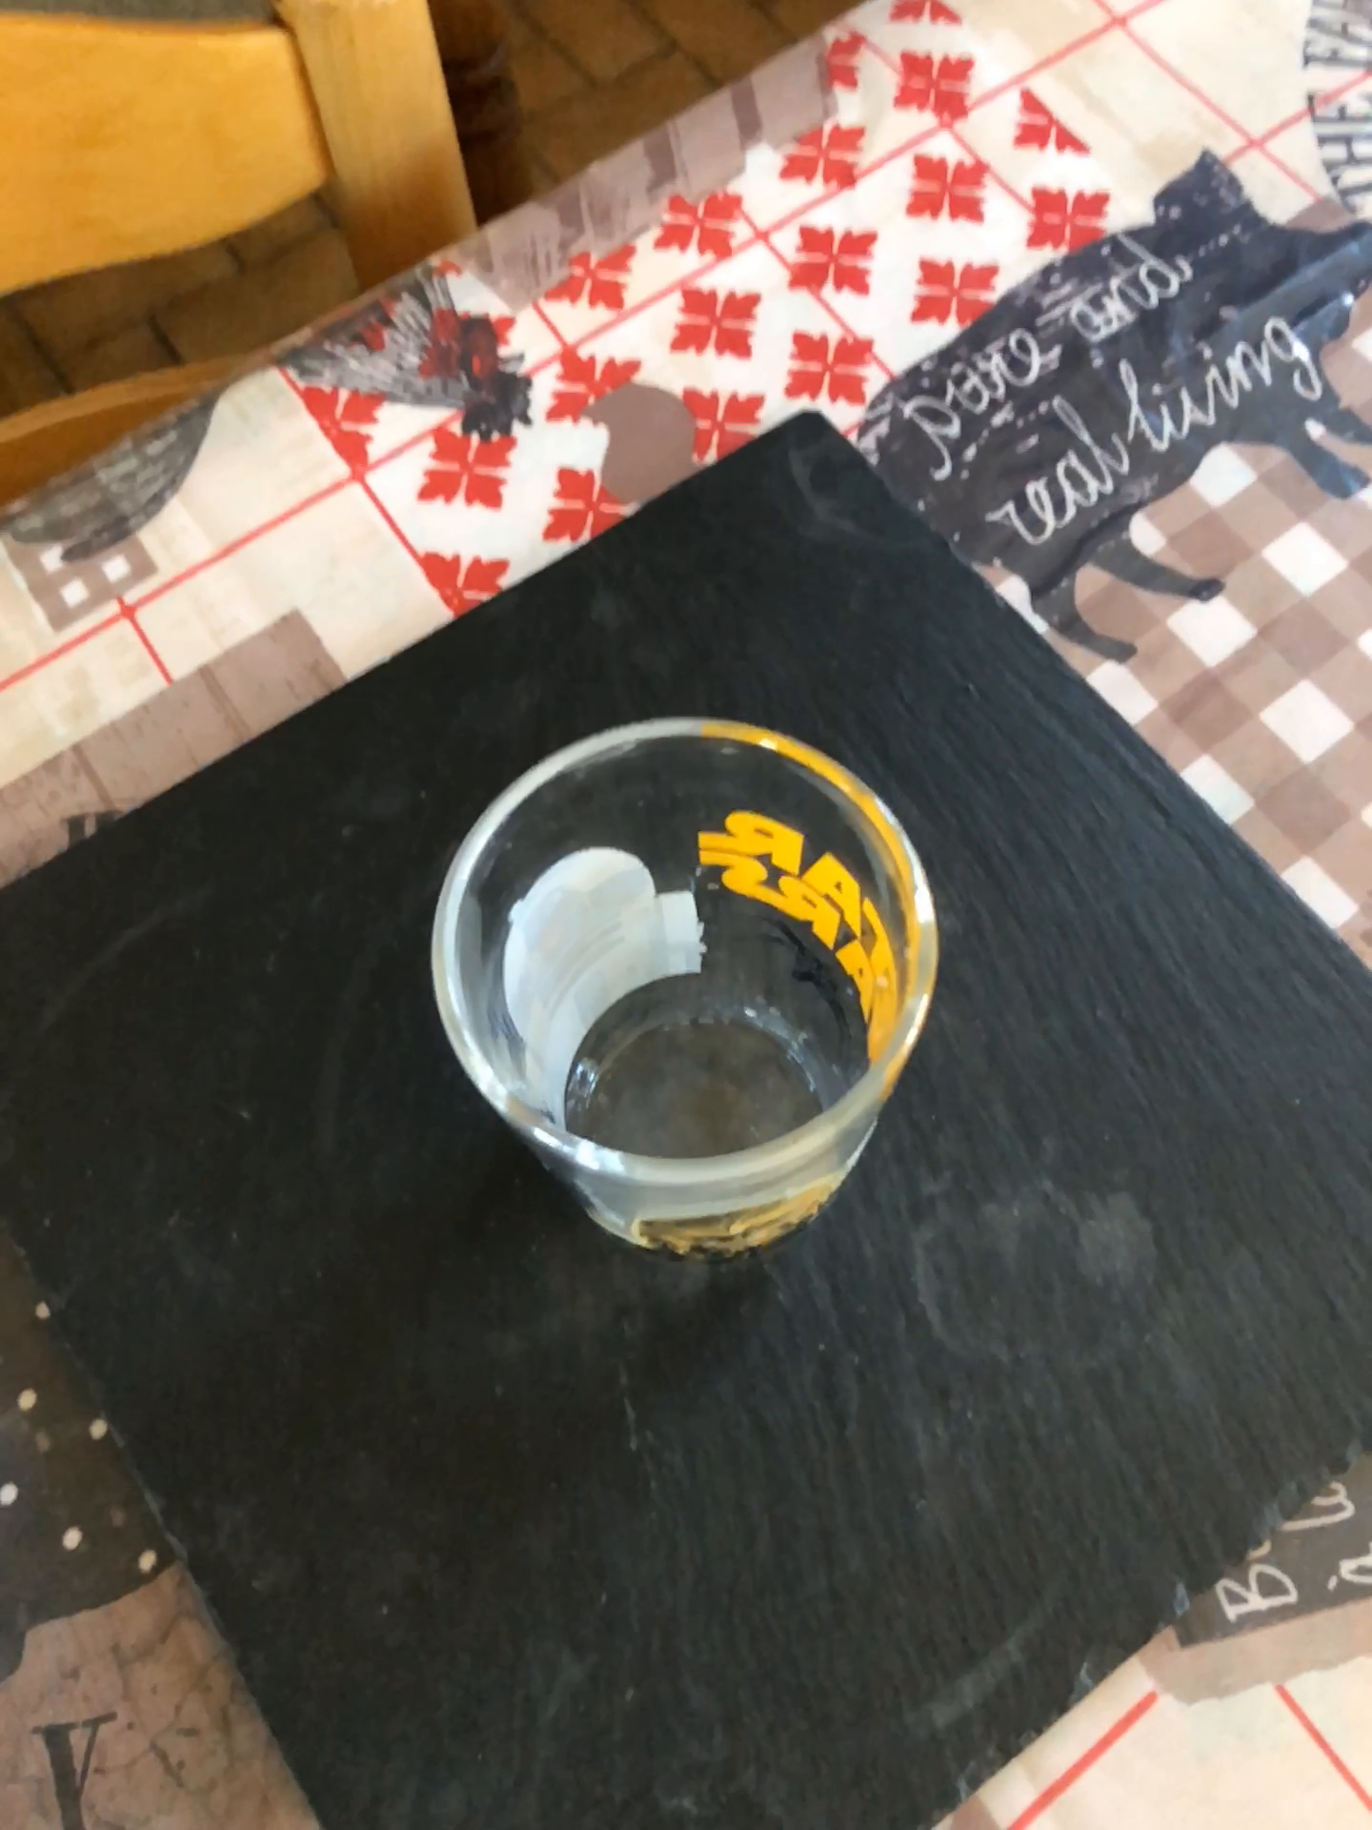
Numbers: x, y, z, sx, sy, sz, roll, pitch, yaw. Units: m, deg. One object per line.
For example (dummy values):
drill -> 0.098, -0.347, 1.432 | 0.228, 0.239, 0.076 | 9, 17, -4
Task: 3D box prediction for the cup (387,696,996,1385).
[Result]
cup -> 0.000, 0.026, 0.236 | 0.070, 0.100, 0.070 | -1, 65, 2
